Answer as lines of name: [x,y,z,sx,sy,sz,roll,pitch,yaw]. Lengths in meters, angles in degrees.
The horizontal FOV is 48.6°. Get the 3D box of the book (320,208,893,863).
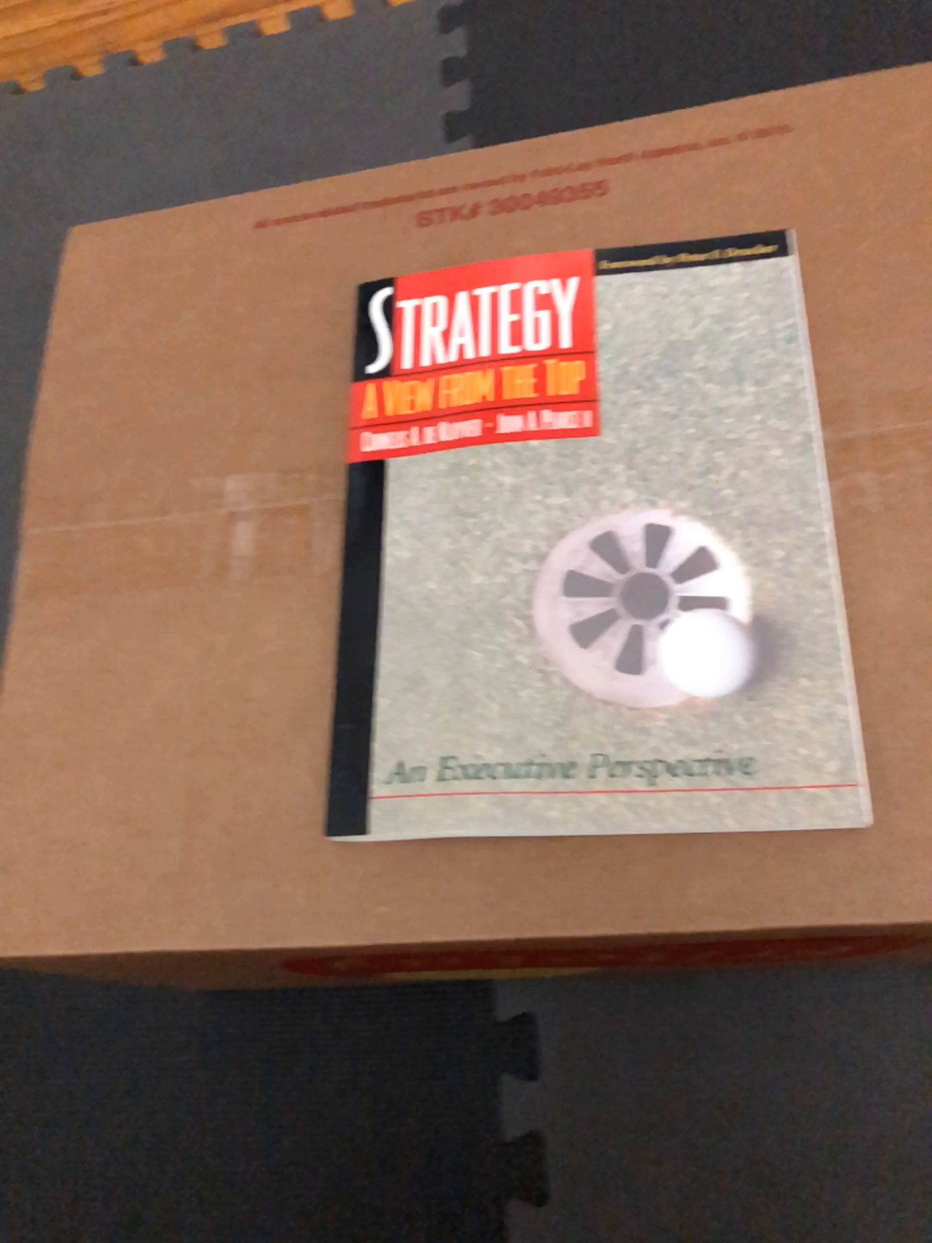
book: [0.043,-0.037,0.379,0.180,0.020,0.241,-4,68,12]
